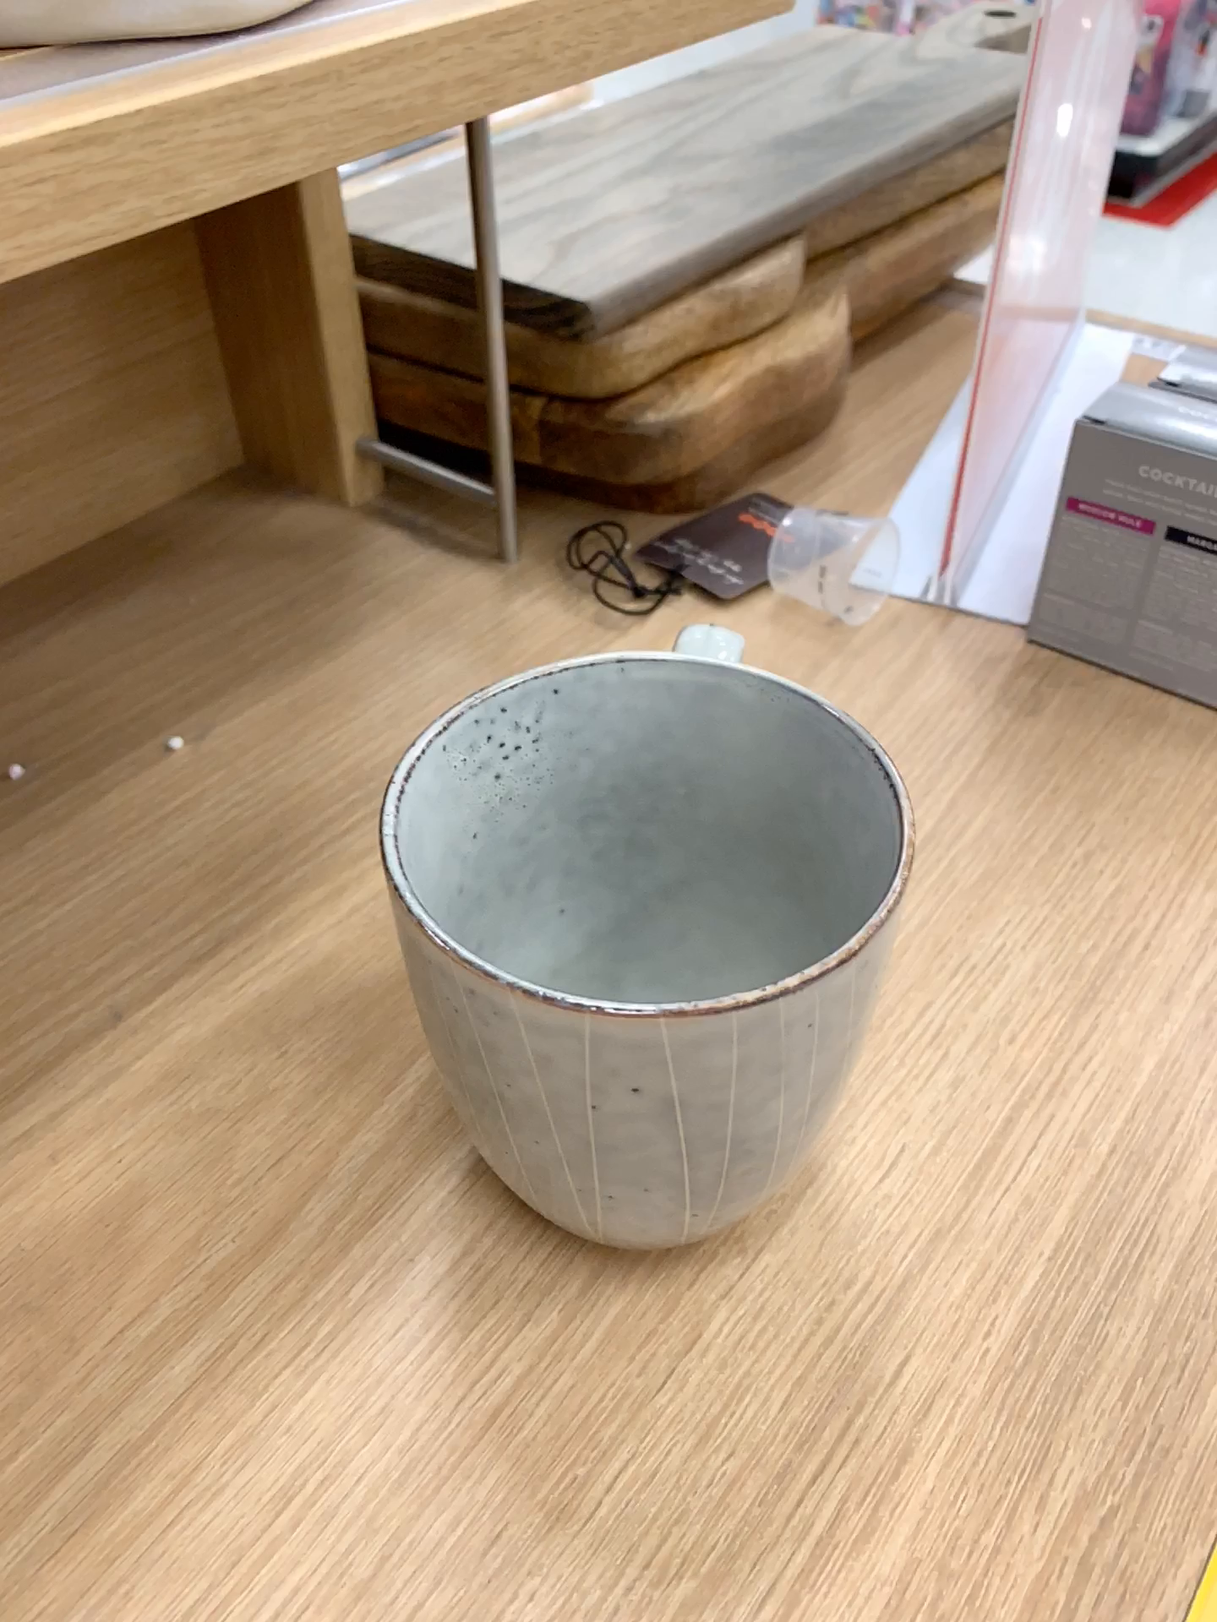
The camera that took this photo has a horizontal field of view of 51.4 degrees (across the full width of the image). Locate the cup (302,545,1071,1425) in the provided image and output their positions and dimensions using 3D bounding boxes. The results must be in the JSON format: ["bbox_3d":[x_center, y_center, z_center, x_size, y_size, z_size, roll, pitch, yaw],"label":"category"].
[{"bbox_3d":[0.016,0.029,0.259,0.107,0.098,0.136,6,43,4],"label":"cup"}]
